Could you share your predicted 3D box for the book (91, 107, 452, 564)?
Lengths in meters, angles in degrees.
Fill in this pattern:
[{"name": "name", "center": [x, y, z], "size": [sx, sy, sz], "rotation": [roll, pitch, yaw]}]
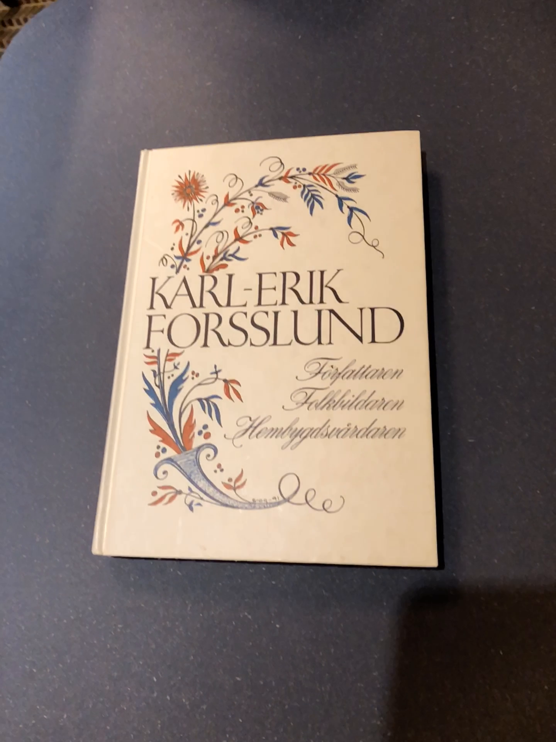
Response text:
[{"name": "book", "center": [0.001, -0.025, 0.324], "size": [0.164, 0.028, 0.232], "rotation": [-1, 72, 11]}]
